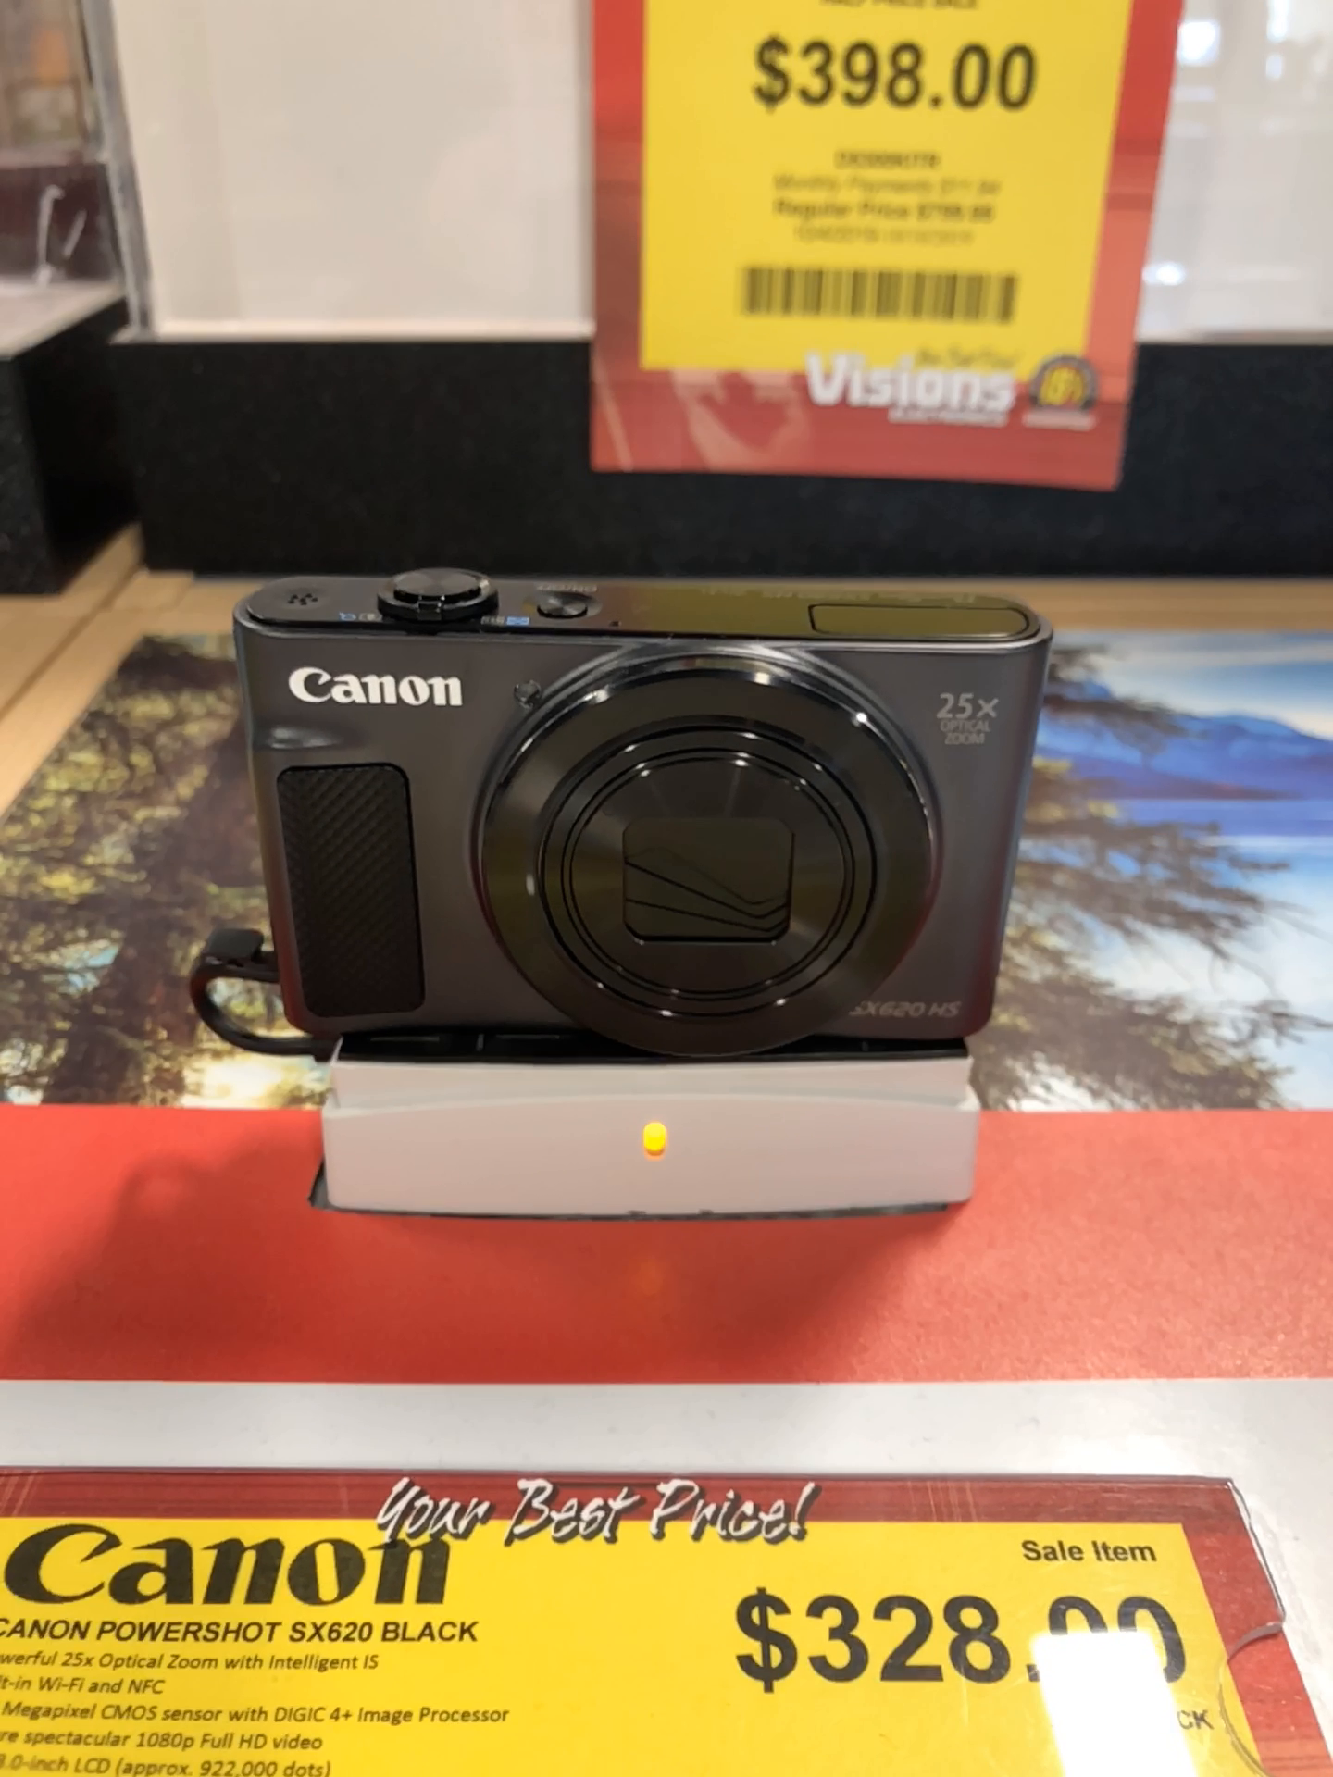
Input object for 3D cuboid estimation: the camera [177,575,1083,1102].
[{"bbox_3d":[-0.004,-0.006,0.192,0.100,0.060,0.030,1,30,1],"label":"camera"}]
